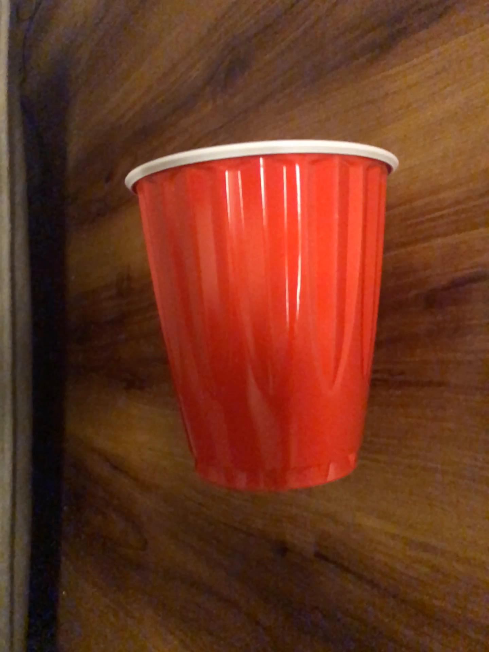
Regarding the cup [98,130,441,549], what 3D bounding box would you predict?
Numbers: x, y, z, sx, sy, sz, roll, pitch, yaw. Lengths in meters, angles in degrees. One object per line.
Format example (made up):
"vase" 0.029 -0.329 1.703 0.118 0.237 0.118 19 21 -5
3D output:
"cup" 0.006 0.000 0.213 0.100 0.089 0.114 6 99 56
